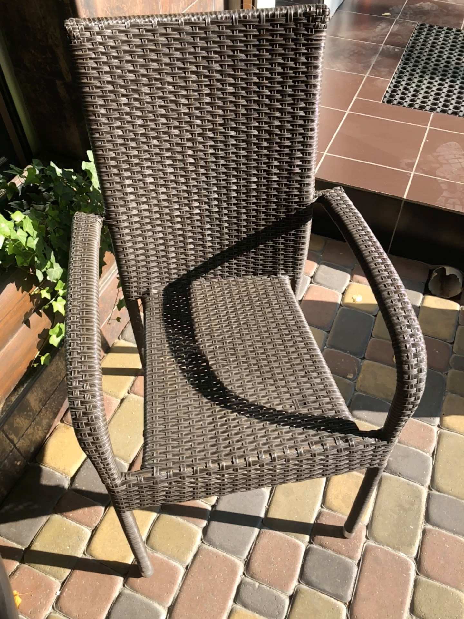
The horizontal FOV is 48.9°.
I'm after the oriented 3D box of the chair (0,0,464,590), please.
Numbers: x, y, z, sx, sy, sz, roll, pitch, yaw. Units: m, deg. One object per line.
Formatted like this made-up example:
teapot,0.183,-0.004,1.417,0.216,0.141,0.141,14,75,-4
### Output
chair,-0.030,0.022,1.038,0.610,0.907,0.722,-7,51,-6
